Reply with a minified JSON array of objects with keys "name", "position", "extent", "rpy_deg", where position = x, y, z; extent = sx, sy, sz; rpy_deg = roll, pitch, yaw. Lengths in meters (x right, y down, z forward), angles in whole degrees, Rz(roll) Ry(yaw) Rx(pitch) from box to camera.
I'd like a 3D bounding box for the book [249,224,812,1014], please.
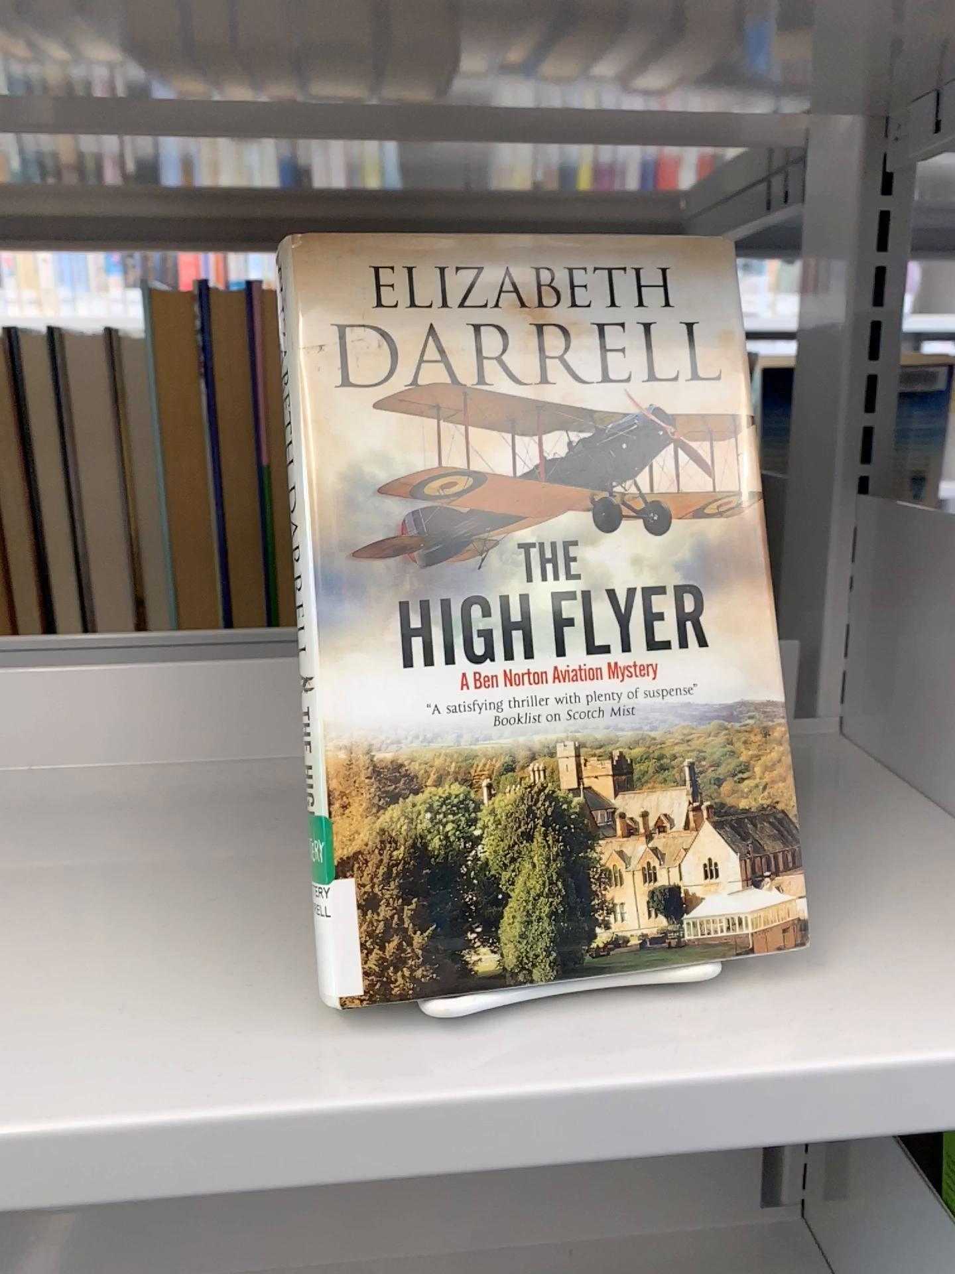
[{"name":"book","position":[0.014,-0.011,0.299],"extent":[0.151,0.215,0.031],"rpy_deg":[-3,-4,-13]}]
